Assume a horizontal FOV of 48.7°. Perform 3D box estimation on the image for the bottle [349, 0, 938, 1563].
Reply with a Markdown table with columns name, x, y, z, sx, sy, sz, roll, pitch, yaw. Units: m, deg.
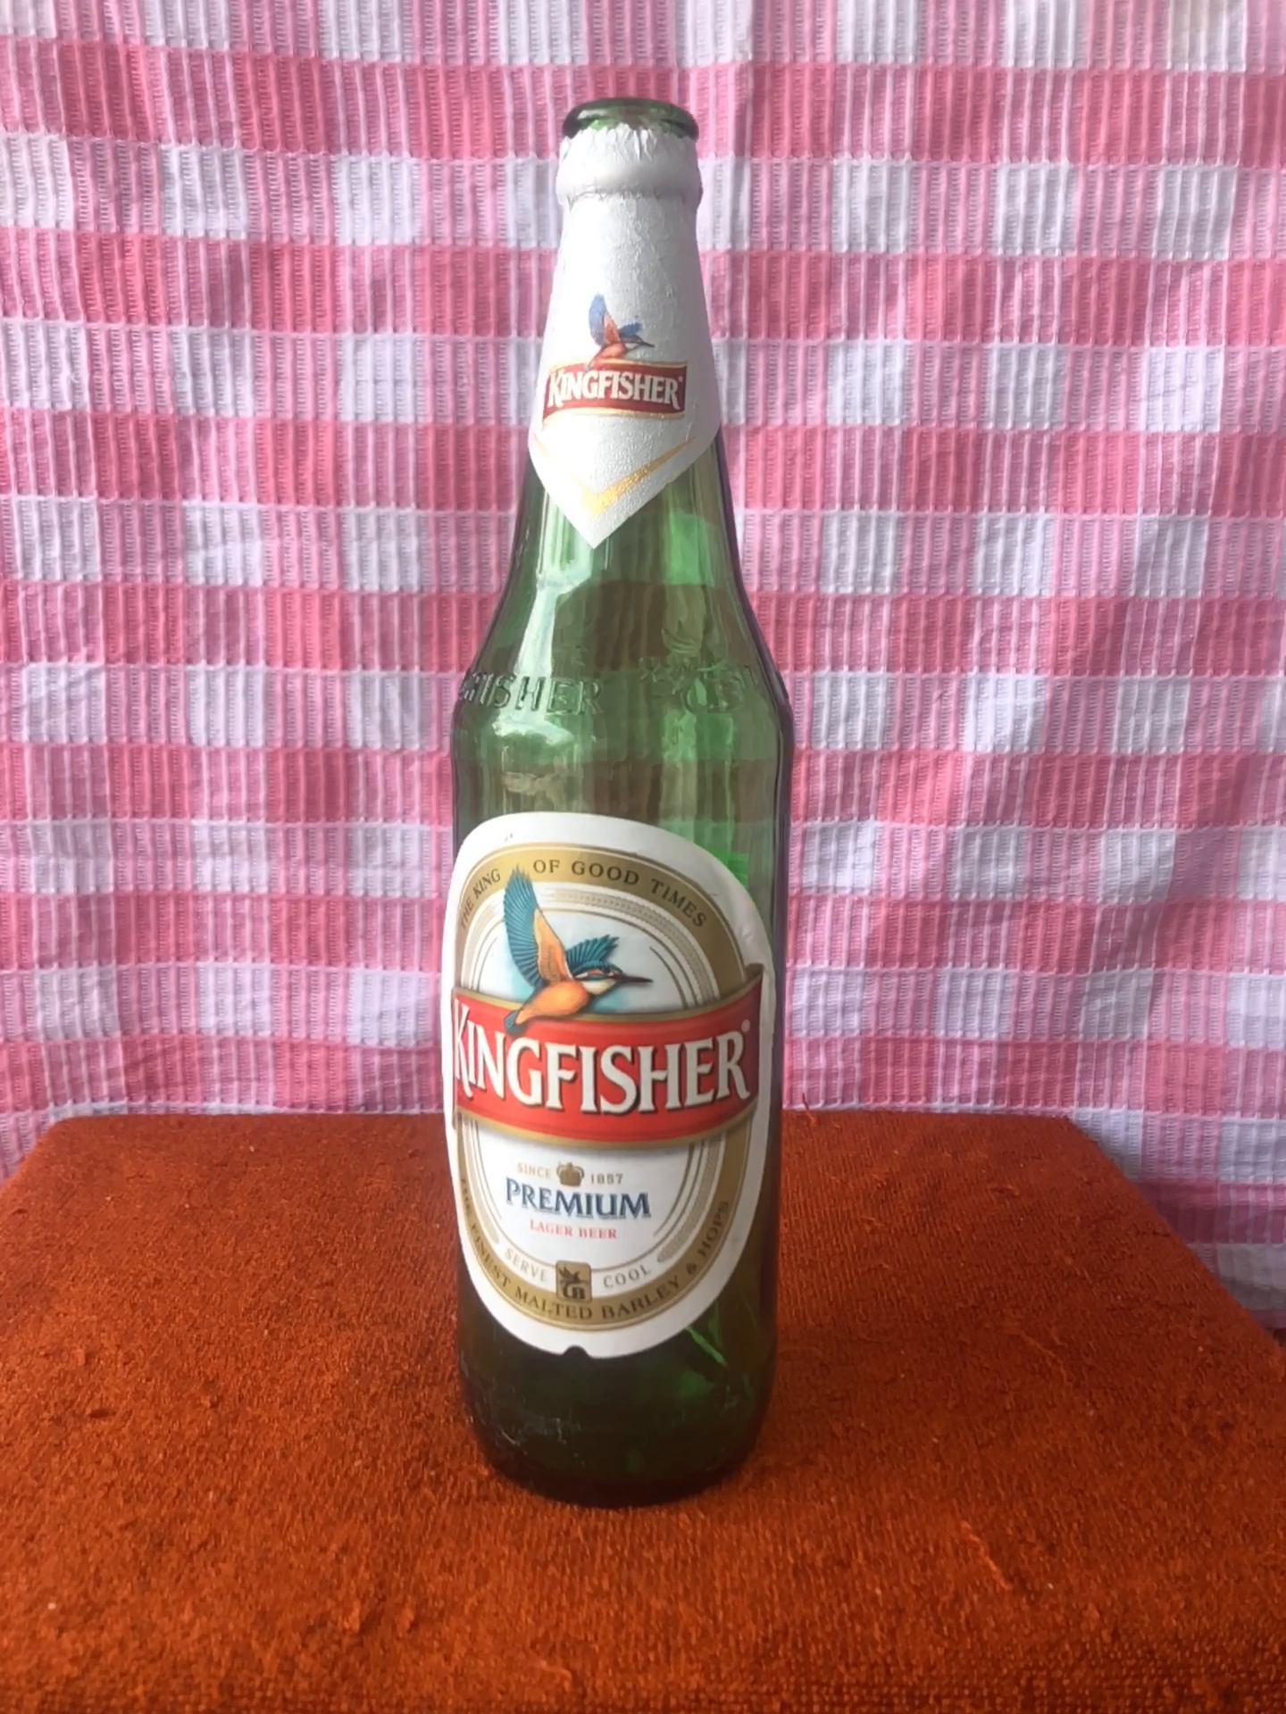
| name | x | y | z | sx | sy | sz | roll | pitch | yaw |
| --- | --- | --- | --- | --- | --- | --- | --- | --- | --- |
| bottle | -0.002 | -0.012 | 0.300 | 0.090 | 0.289 | 0.080 | 7 | 15 | 15 |
